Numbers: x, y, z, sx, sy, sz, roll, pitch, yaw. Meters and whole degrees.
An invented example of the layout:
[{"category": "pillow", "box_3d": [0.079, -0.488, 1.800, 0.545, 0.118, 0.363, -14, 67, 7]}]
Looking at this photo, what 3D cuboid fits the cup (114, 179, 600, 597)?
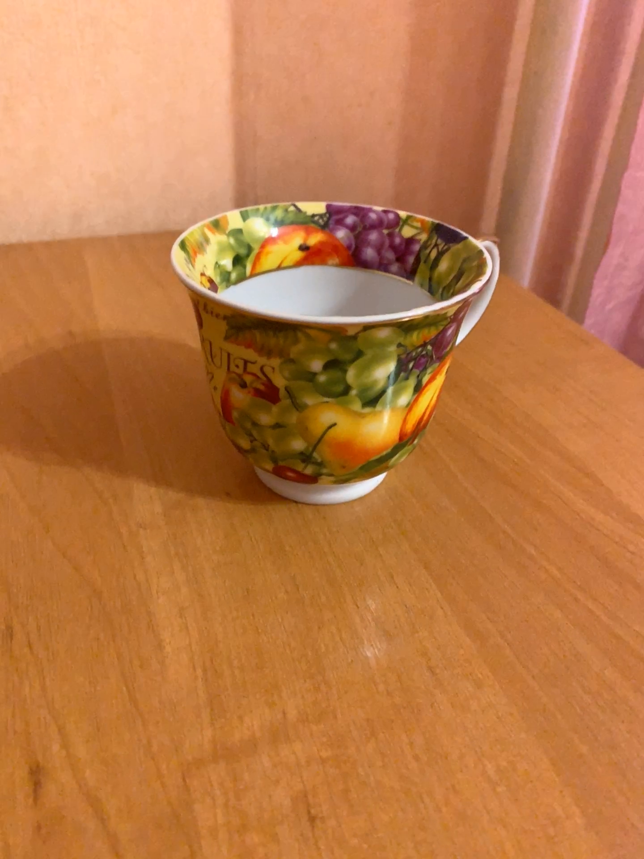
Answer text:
[{"category": "cup", "box_3d": [0.010, -0.024, 0.208, 0.106, 0.071, 0.086, -24, 42, -34]}]
